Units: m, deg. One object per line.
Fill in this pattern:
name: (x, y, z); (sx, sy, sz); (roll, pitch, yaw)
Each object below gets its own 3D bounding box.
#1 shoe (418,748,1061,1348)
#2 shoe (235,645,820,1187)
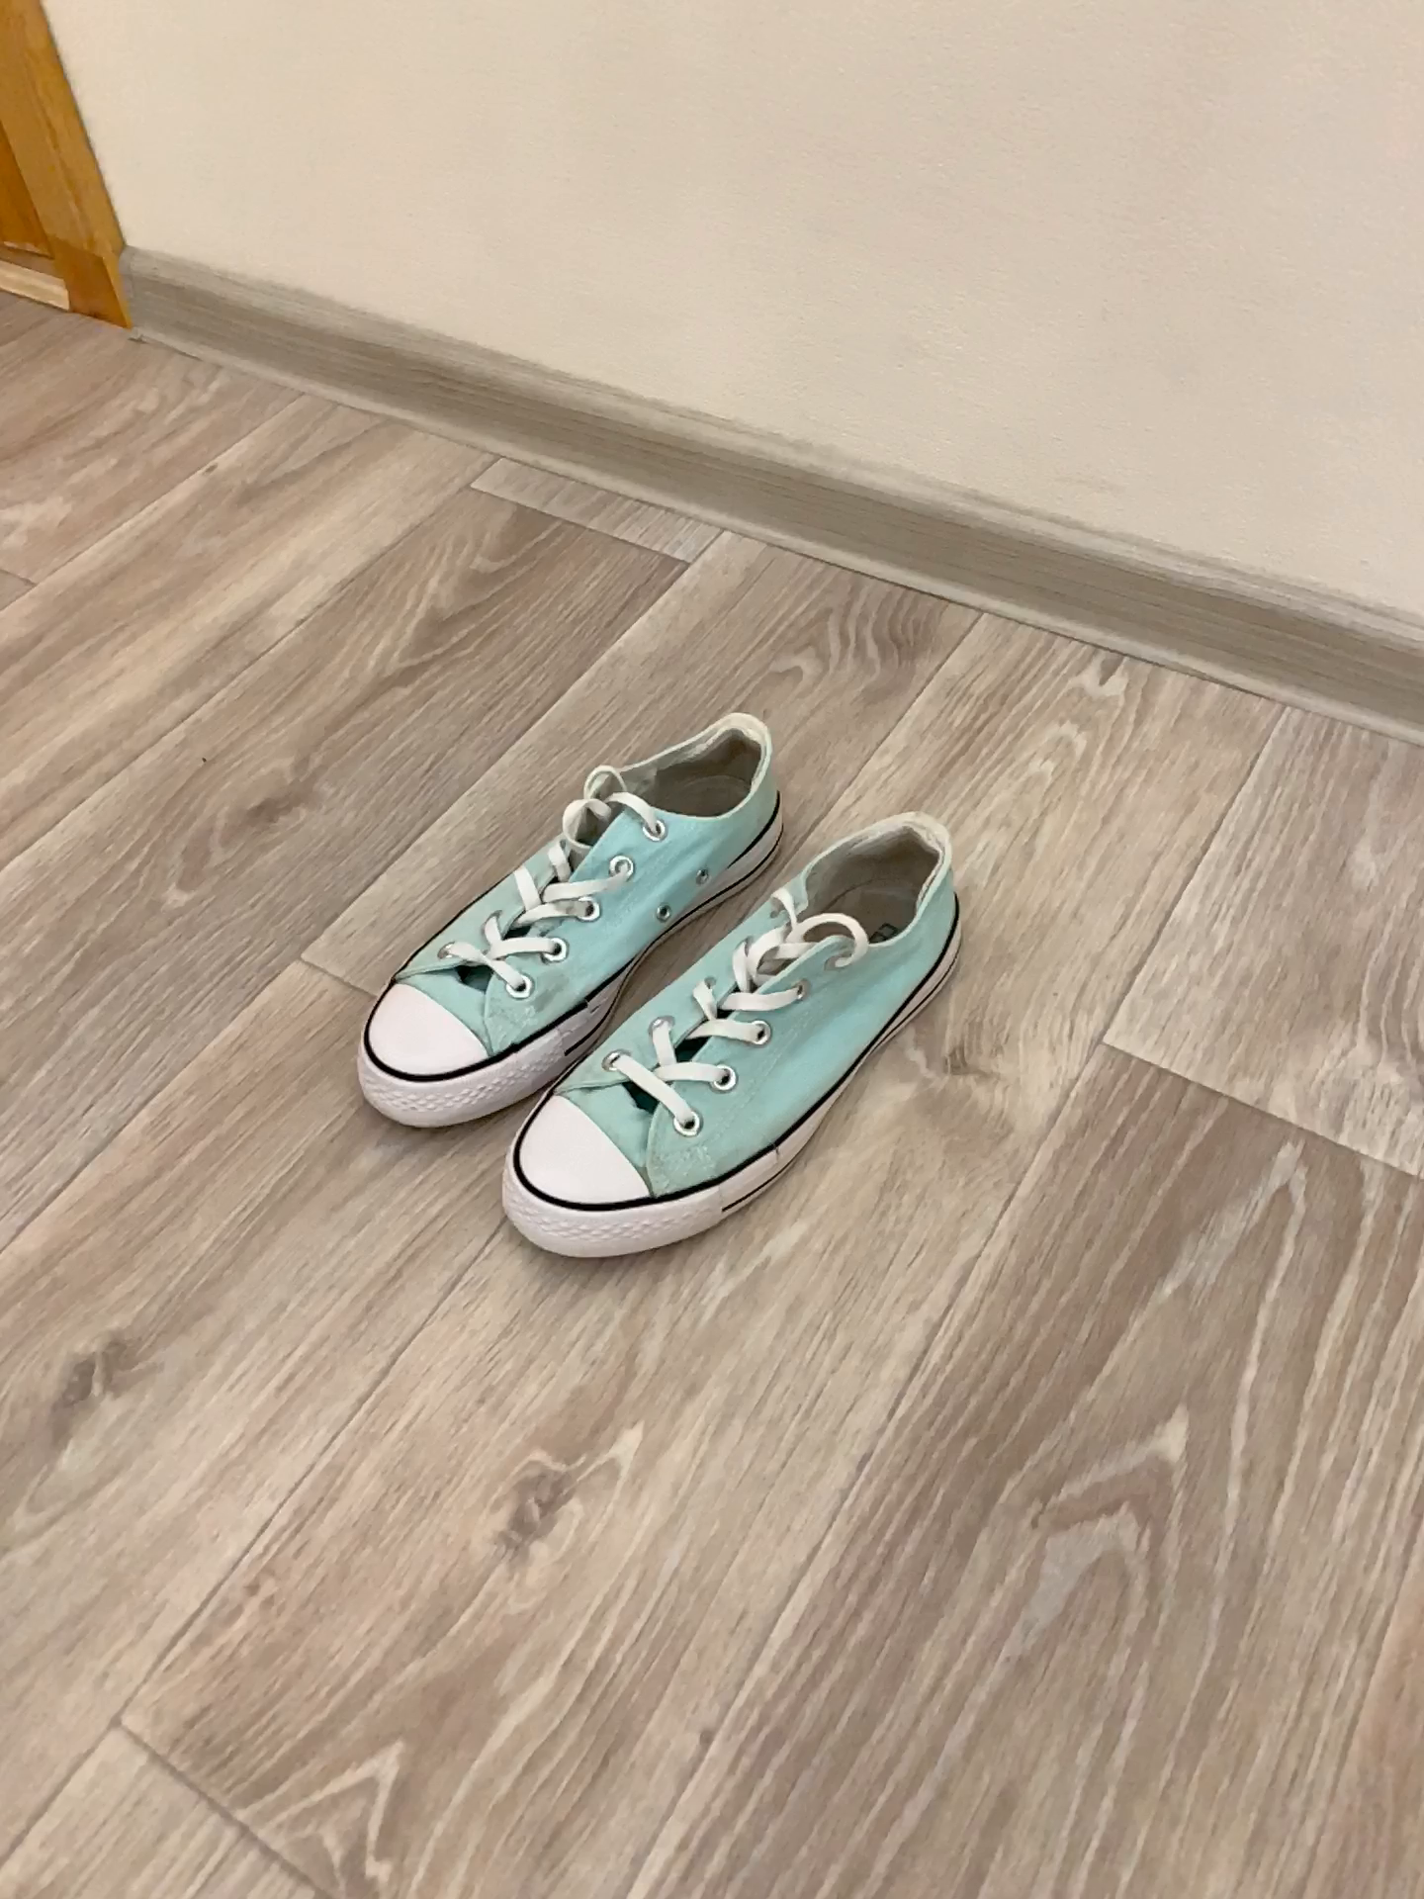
shoe: (0.018, 0.028, 0.582); (0.250, 0.060, 0.100); (-39, 58, -25)
shoe: (-0.067, -0.025, 0.623); (0.093, 0.060, 0.251); (31, 59, 26)
